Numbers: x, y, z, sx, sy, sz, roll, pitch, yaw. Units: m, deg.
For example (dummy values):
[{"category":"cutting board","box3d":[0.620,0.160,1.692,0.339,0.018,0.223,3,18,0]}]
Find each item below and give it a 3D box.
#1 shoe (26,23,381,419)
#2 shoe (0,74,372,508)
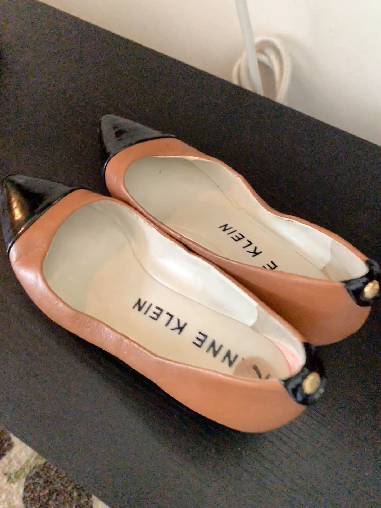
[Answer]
[{"category":"shoe","box3d":[0.005,-0.039,0.261,0.093,0.079,0.261,-32,66,-22]},{"category":"shoe","box3d":[-0.051,0.015,0.237,0.261,0.099,0.093,38,62,18]}]
